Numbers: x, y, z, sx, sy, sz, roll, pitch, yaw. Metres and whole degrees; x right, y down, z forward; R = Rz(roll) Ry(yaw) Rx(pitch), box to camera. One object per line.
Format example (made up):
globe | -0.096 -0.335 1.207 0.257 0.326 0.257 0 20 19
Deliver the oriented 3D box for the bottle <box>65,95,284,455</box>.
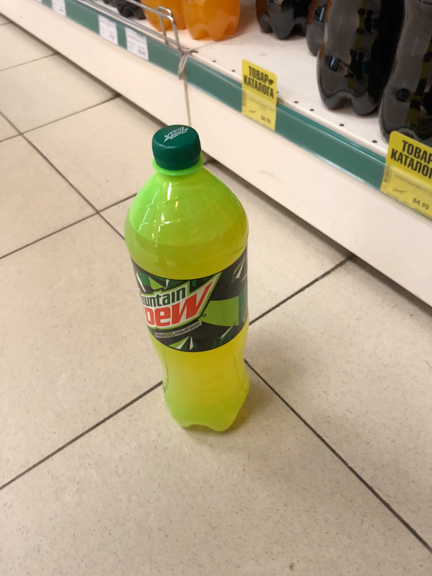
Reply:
bottle | -0.018 0.011 0.406 0.095 0.294 0.100 -2 46 2
